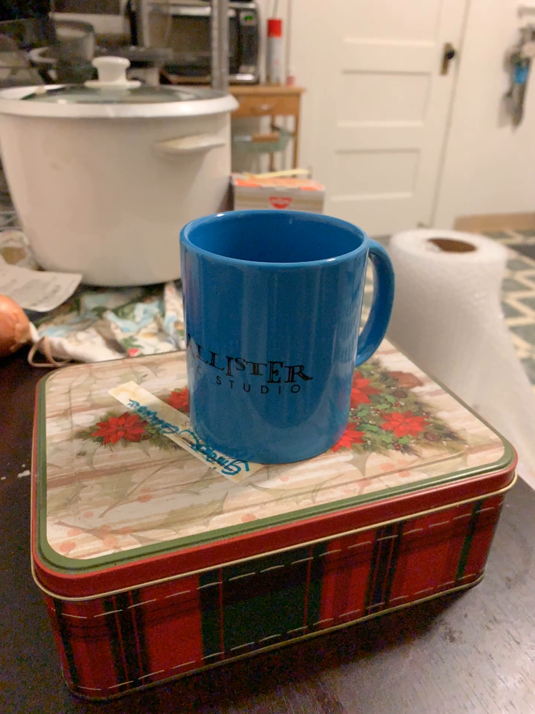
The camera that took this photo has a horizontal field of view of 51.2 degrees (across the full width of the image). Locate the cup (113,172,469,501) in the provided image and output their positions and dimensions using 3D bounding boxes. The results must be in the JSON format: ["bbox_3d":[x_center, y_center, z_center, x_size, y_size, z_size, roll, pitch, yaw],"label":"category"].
[{"bbox_3d":[0.012,-0.023,0.268,0.130,0.099,0.090,-22,36,-37],"label":"cup"}]
